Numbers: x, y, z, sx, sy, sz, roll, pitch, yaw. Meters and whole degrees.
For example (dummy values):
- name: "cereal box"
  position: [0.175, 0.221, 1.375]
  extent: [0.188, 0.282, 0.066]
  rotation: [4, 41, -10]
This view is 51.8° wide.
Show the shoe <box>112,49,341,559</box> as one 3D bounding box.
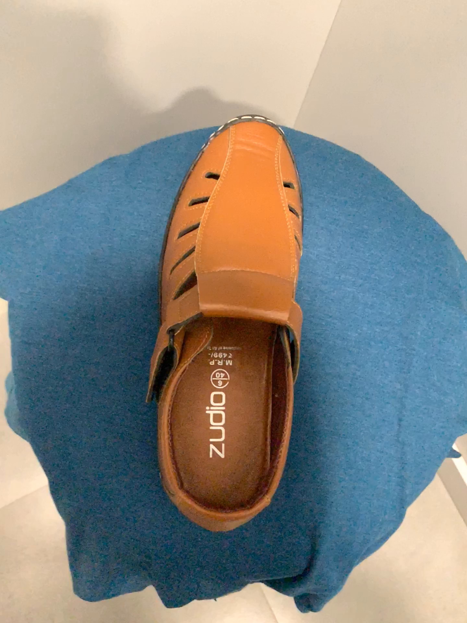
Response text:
- name: "shoe"
  position: [-0.001, -0.007, 0.305]
  extent: [0.100, 0.100, 0.270]
  rotation: [6, 78, -4]
